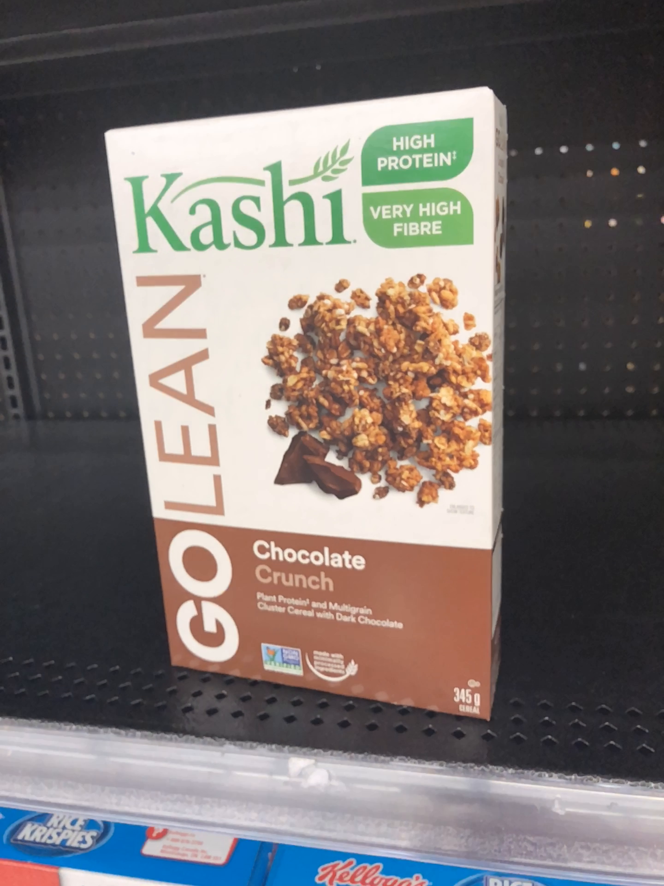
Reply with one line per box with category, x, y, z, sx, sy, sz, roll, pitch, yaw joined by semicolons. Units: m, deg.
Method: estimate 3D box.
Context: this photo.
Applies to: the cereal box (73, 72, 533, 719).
cereal box;-0.007;-0.014;0.334;0.180;0.249;0.050;2;16;19
